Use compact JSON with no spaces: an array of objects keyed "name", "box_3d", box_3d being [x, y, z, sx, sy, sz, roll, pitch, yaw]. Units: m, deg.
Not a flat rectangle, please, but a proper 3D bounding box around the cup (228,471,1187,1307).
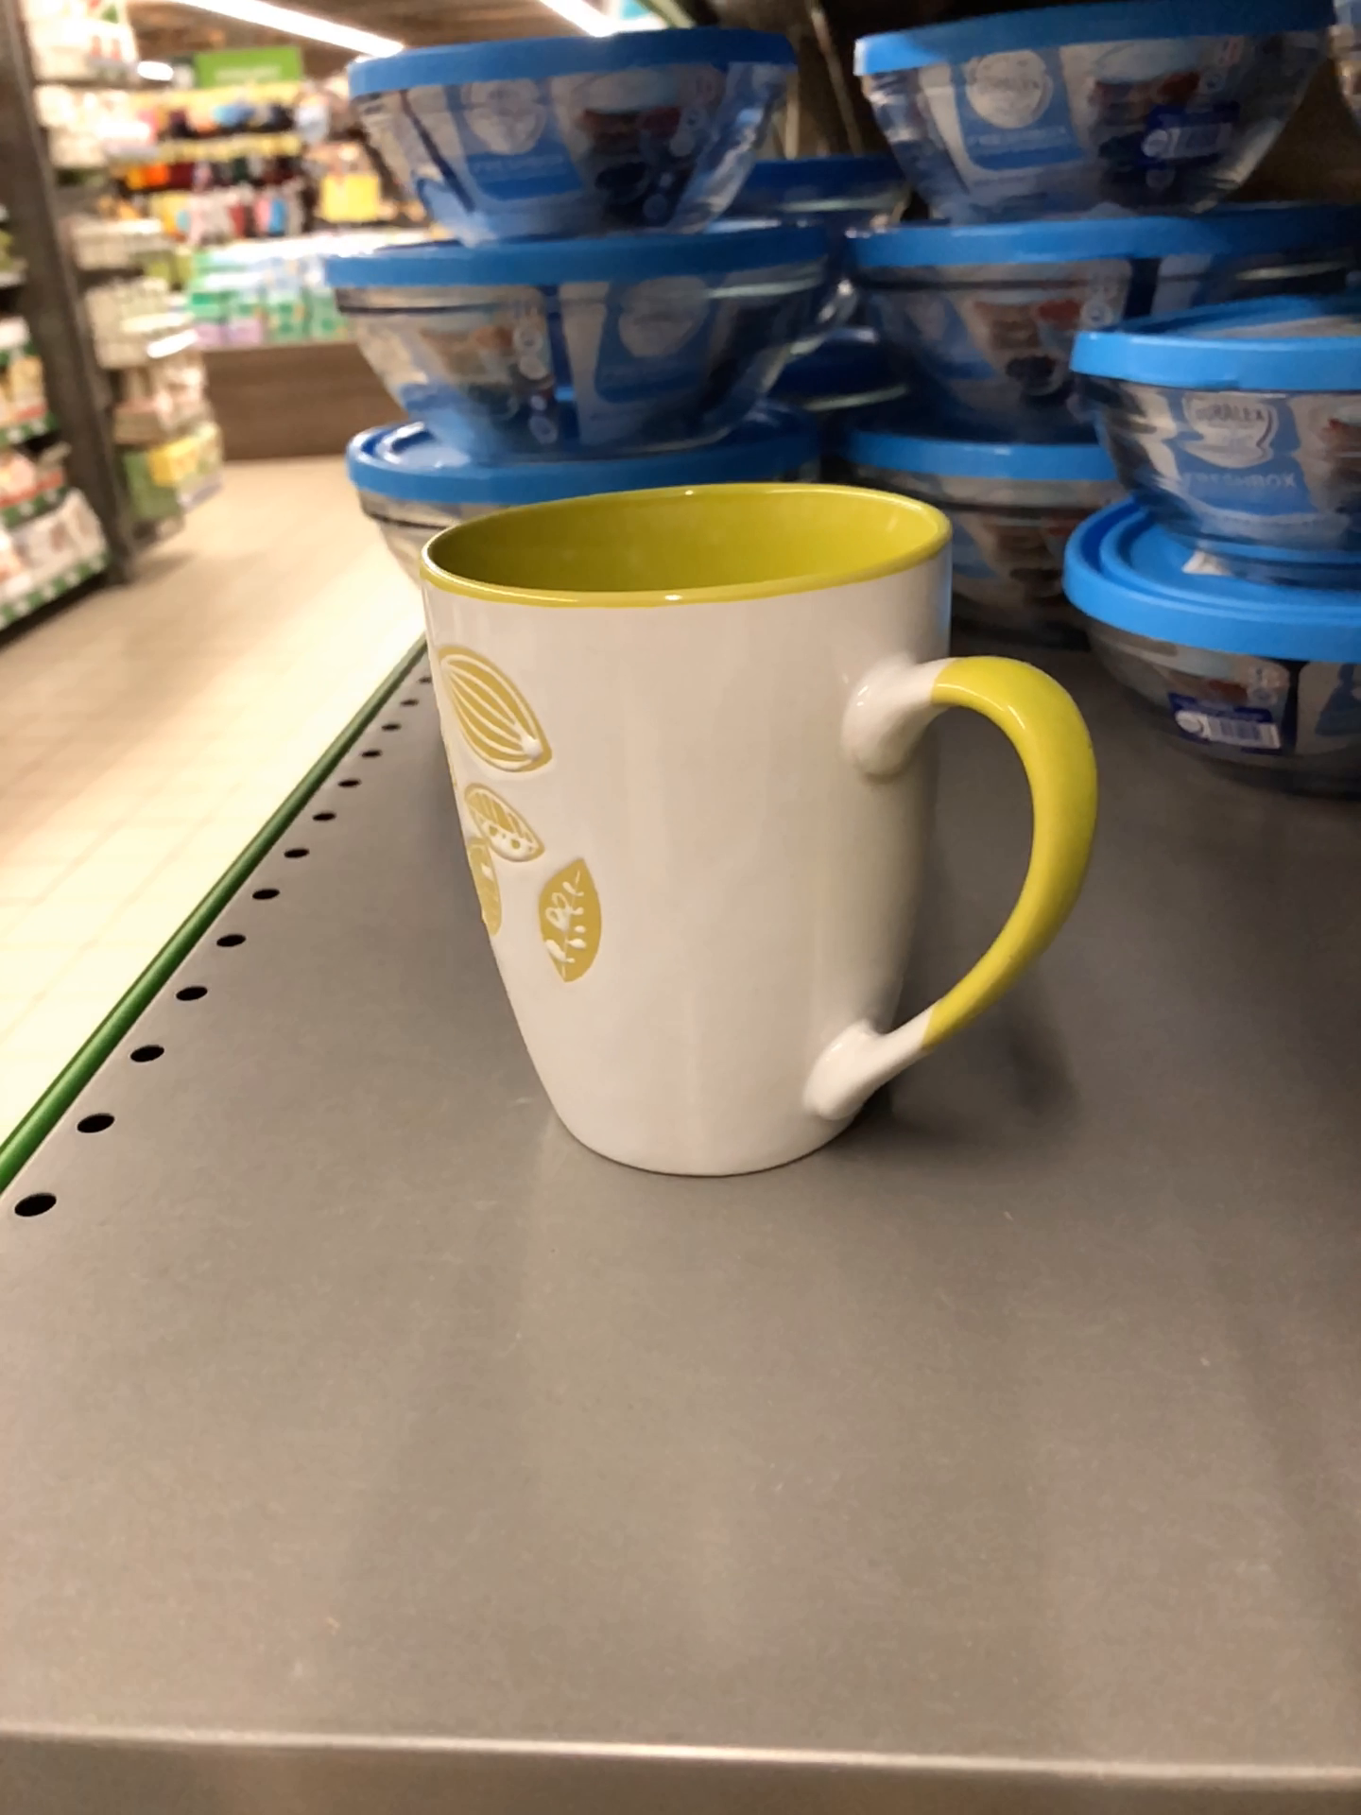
[{"name":"cup","box_3d":[0.006,-0.017,0.267,0.126,0.095,0.094,15,31,35]}]
